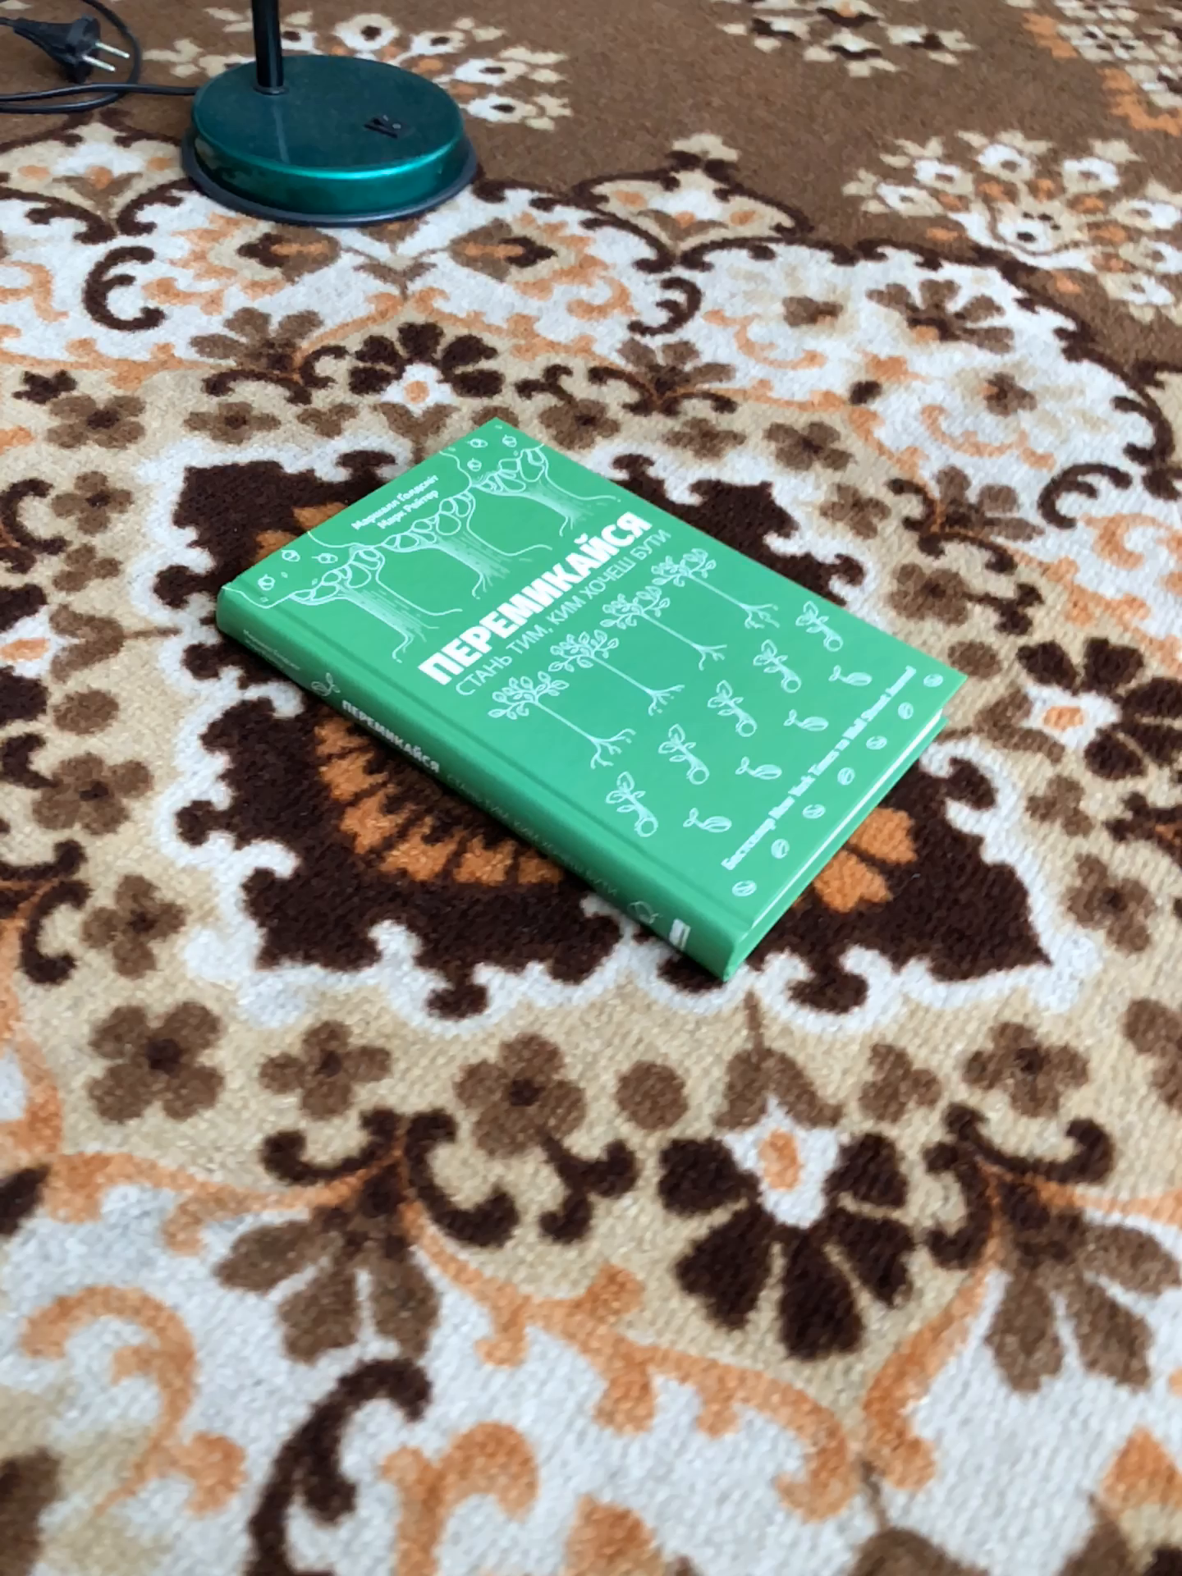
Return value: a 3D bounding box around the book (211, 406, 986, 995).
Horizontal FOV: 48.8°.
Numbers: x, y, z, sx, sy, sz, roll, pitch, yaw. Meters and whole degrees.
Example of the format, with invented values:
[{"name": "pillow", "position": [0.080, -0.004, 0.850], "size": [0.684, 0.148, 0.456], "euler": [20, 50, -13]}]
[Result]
[{"name": "book", "position": [0.002, -0.043, 0.416], "size": [0.202, 0.023, 0.138], "euler": [33, 54, 20]}]
